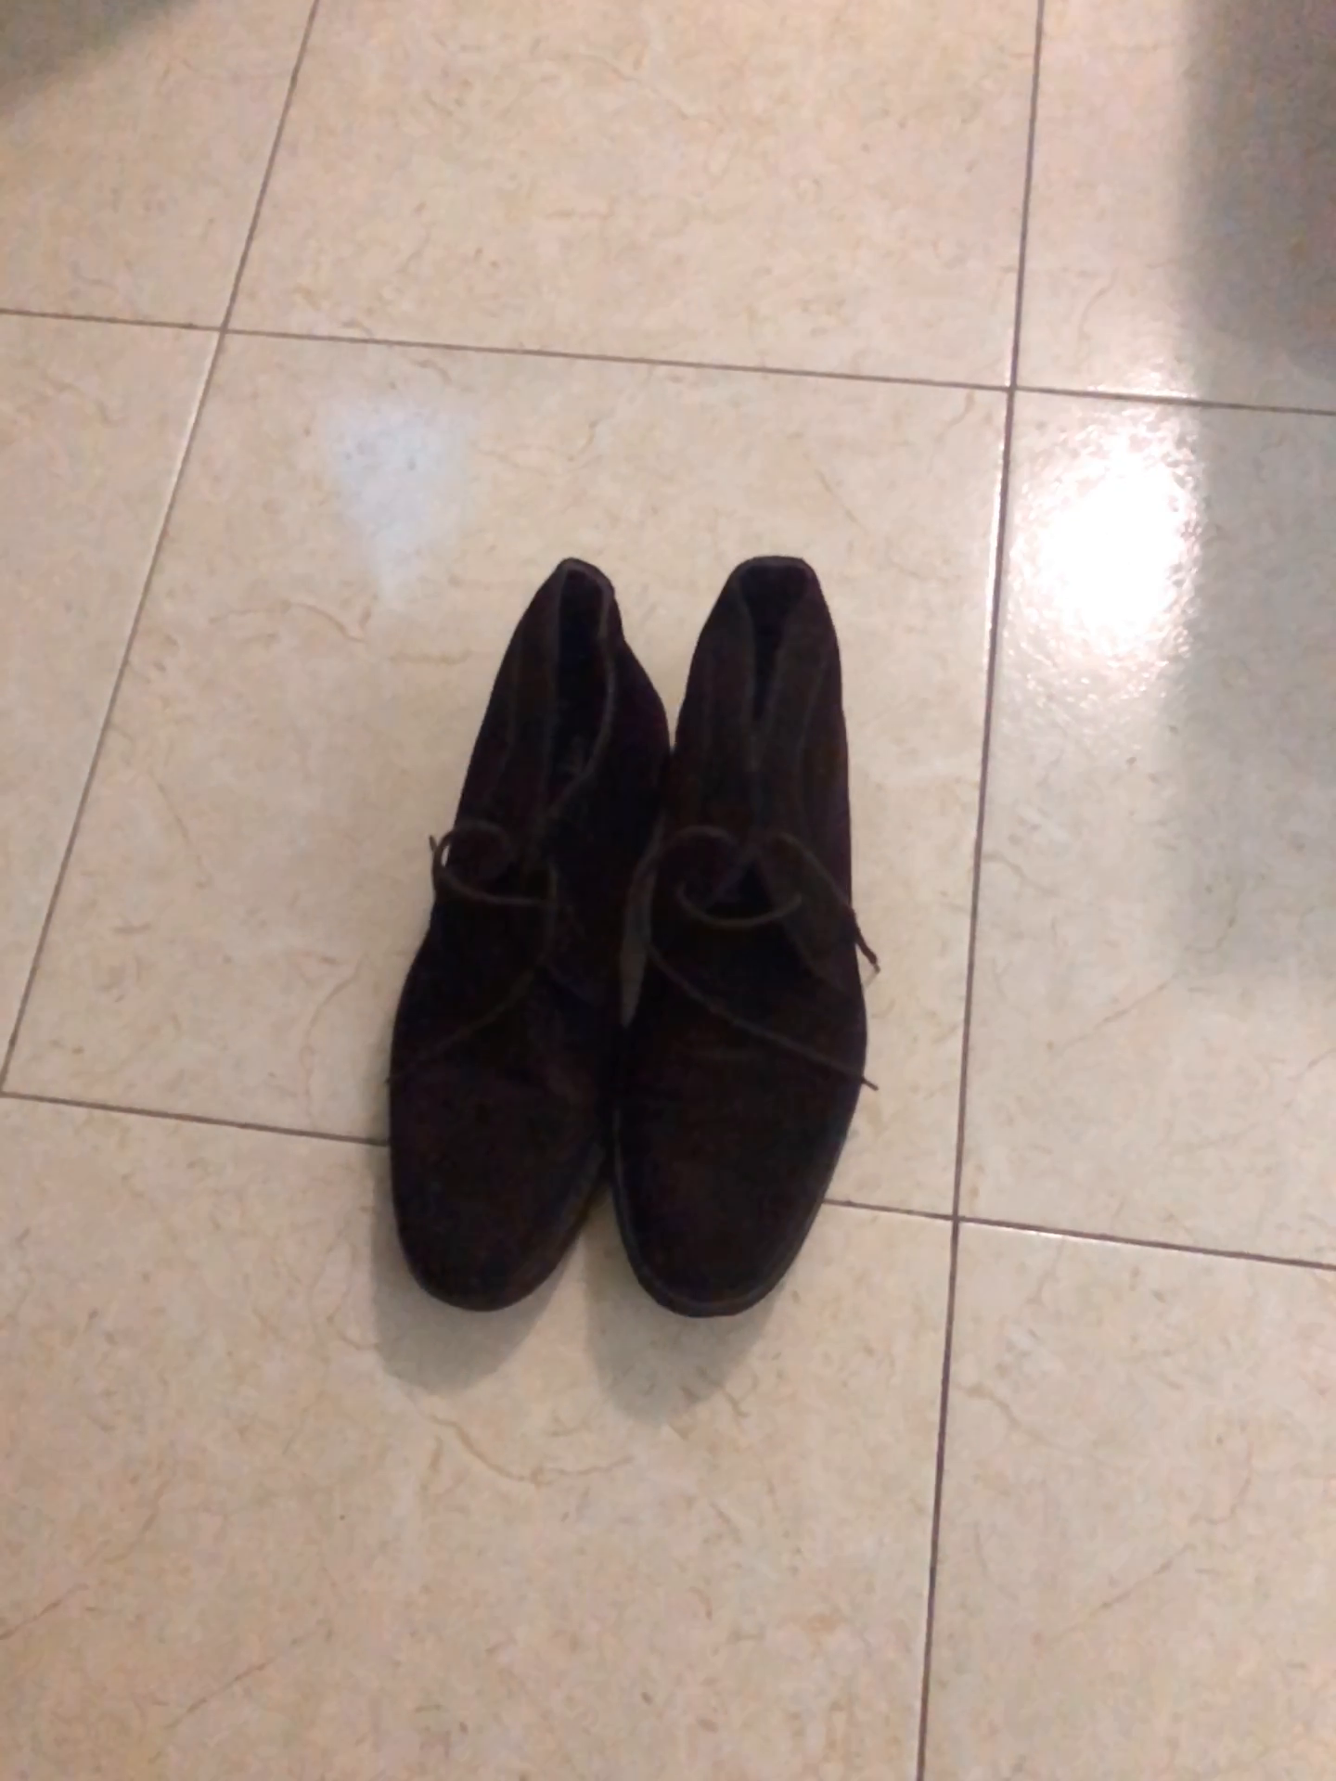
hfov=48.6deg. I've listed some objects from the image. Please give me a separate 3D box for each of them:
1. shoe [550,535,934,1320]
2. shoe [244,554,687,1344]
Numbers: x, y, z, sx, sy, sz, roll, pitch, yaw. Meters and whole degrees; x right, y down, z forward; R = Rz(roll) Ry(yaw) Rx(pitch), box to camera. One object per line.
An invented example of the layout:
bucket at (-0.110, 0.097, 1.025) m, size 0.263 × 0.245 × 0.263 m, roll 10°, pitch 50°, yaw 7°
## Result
shoe at (0.038, 0.018, 0.643) m, size 0.110 × 0.140 × 0.300 m, roll 7°, pitch 70°, yaw 6°
shoe at (-0.071, 0.026, 0.633) m, size 0.110 × 0.130 × 0.300 m, roll 7°, pitch 70°, yaw 6°
